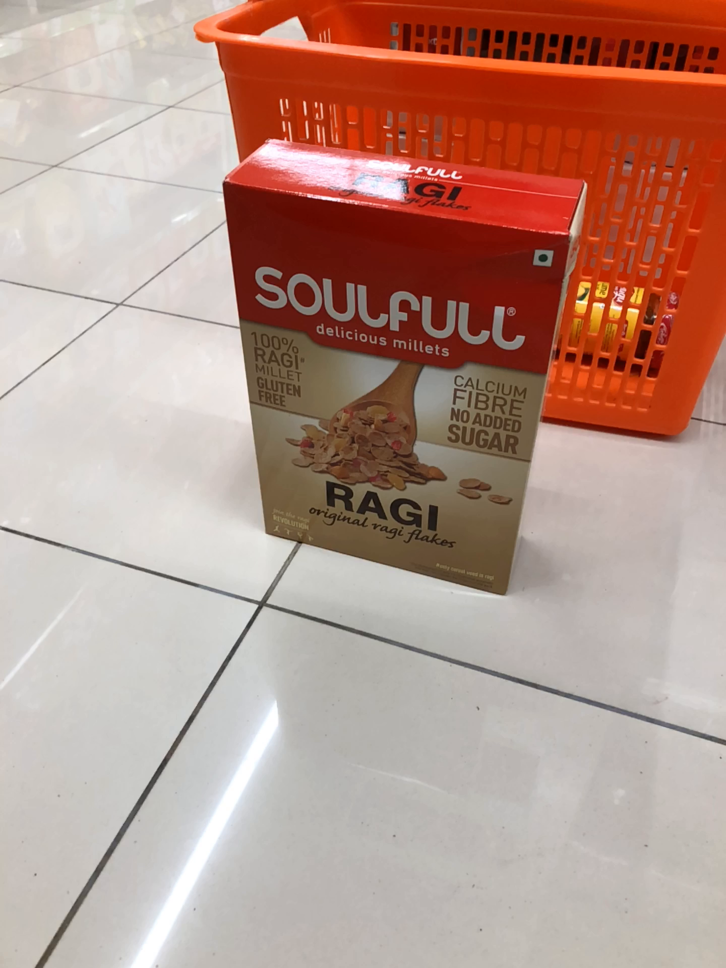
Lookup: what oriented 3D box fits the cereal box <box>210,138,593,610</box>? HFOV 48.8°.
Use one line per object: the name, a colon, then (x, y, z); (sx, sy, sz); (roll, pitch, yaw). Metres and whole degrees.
cereal box: (0.017, -0.053, 0.452); (0.170, 0.238, 0.060); (13, 41, 15)
